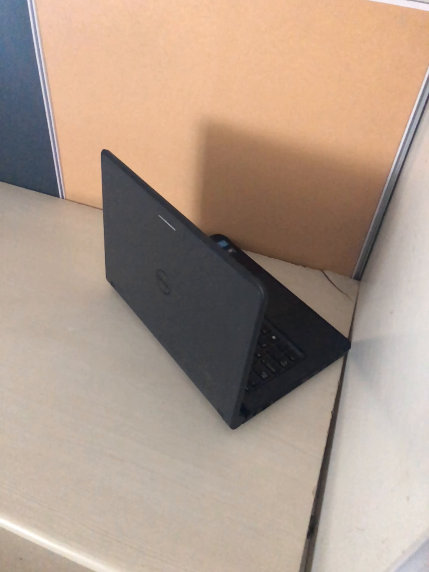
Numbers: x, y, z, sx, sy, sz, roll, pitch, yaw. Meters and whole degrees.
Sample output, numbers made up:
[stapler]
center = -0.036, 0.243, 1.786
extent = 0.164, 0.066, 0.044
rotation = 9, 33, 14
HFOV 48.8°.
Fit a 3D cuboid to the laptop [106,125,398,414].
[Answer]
[laptop]
center = 0.029, -0.042, 0.655
extent = 0.214, 0.211, 0.305
rotation = -24, 50, -29
